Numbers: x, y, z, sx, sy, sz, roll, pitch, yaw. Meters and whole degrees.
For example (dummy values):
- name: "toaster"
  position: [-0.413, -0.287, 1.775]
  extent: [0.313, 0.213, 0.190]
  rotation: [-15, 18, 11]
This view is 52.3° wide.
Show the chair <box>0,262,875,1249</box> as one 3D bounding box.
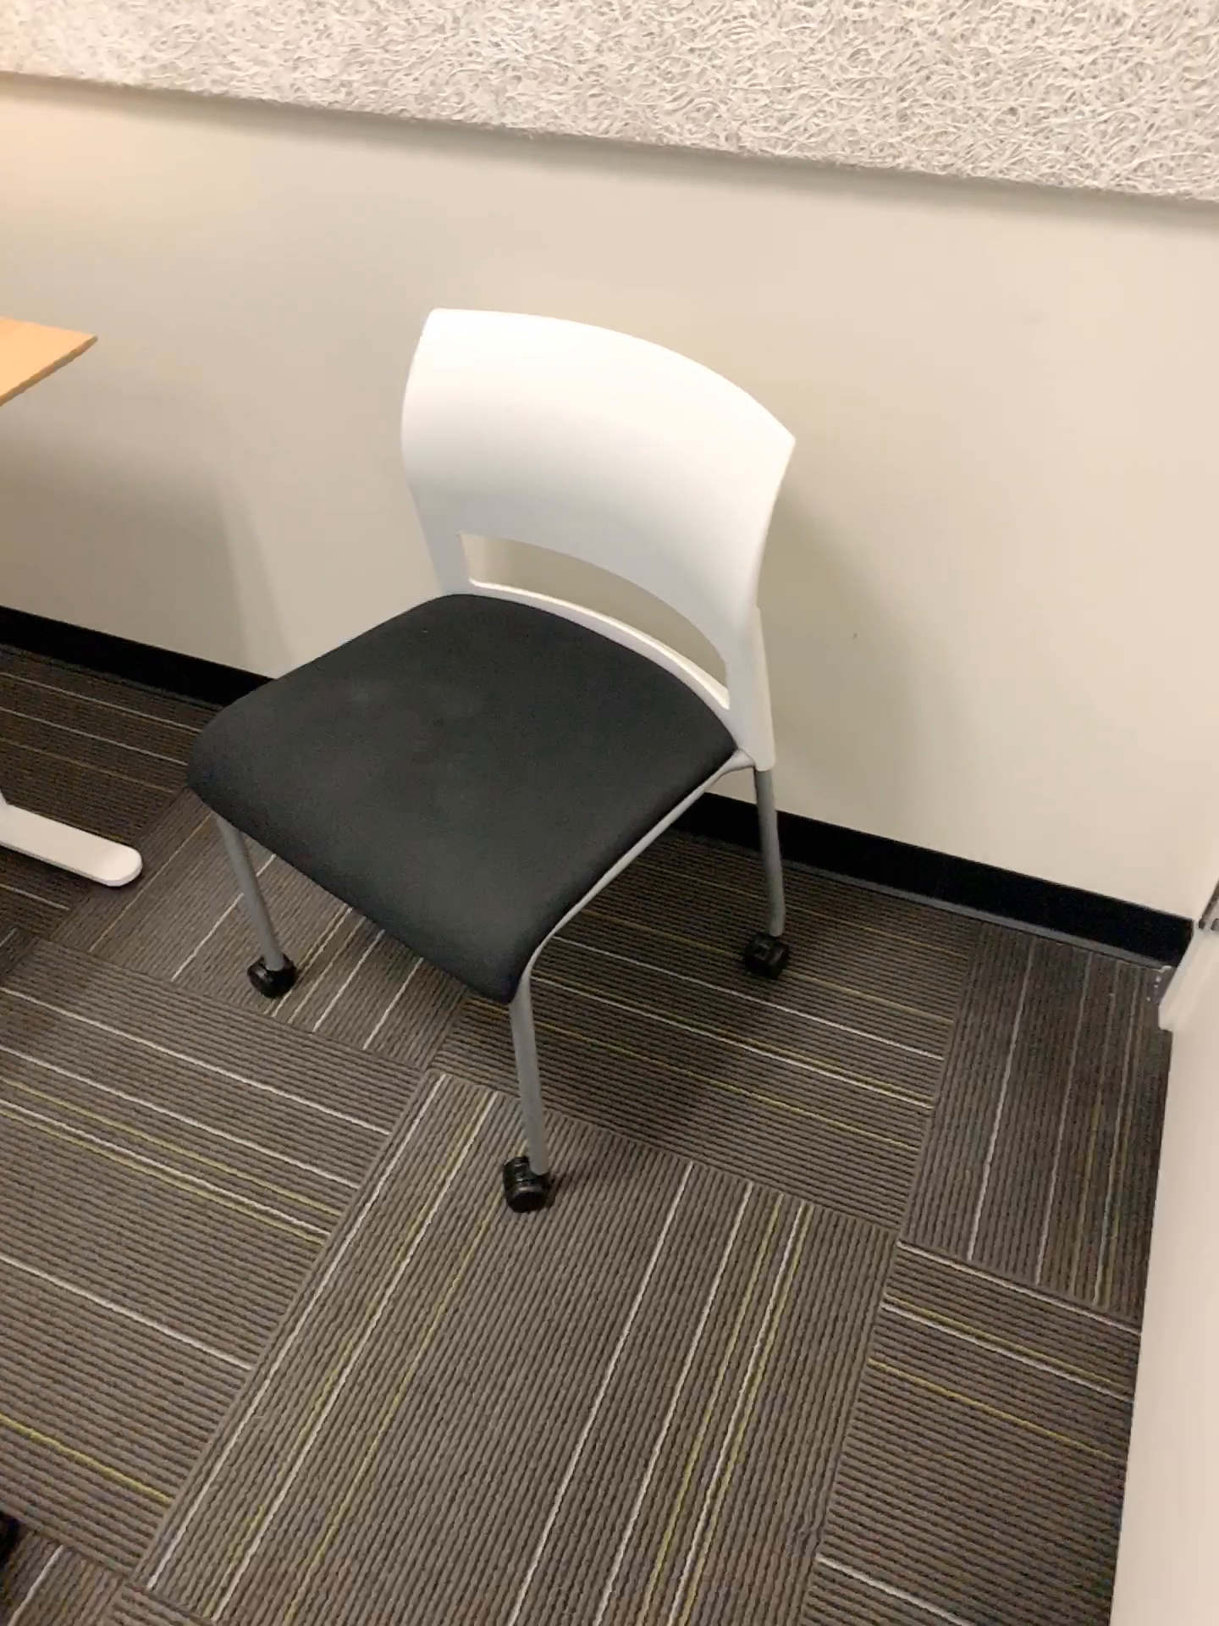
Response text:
- name: "chair"
  position: [-0.149, -0.069, 1.353]
  extent: [0.582, 0.736, 0.541]
  rotation: [30, 54, 28]
